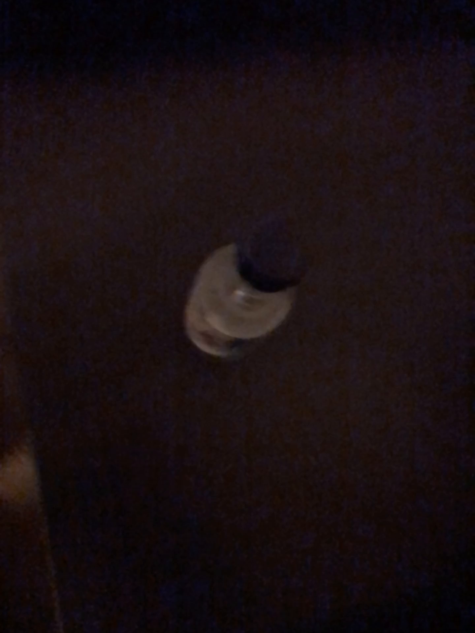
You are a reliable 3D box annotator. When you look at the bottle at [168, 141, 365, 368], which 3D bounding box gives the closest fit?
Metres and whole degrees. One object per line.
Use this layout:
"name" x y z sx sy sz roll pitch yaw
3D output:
"bottle" 0.001 -0.012 0.185 0.036 0.104 0.040 -13 81 -13
